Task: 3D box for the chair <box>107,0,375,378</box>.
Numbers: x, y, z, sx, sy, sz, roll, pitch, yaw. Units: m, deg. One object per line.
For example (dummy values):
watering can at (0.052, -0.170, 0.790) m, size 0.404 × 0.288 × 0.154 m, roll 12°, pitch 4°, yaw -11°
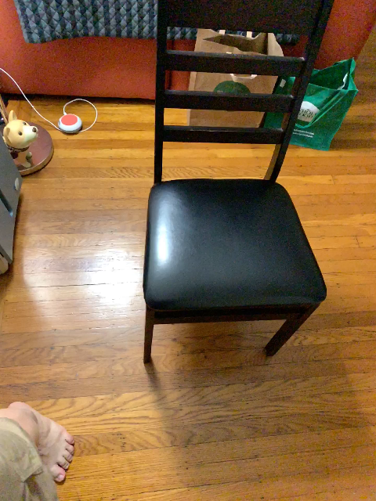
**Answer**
chair at (0.101, -0.093, 0.901) m, size 0.490 × 0.868 × 0.551 m, roll -3°, pitch 62°, yaw -8°
